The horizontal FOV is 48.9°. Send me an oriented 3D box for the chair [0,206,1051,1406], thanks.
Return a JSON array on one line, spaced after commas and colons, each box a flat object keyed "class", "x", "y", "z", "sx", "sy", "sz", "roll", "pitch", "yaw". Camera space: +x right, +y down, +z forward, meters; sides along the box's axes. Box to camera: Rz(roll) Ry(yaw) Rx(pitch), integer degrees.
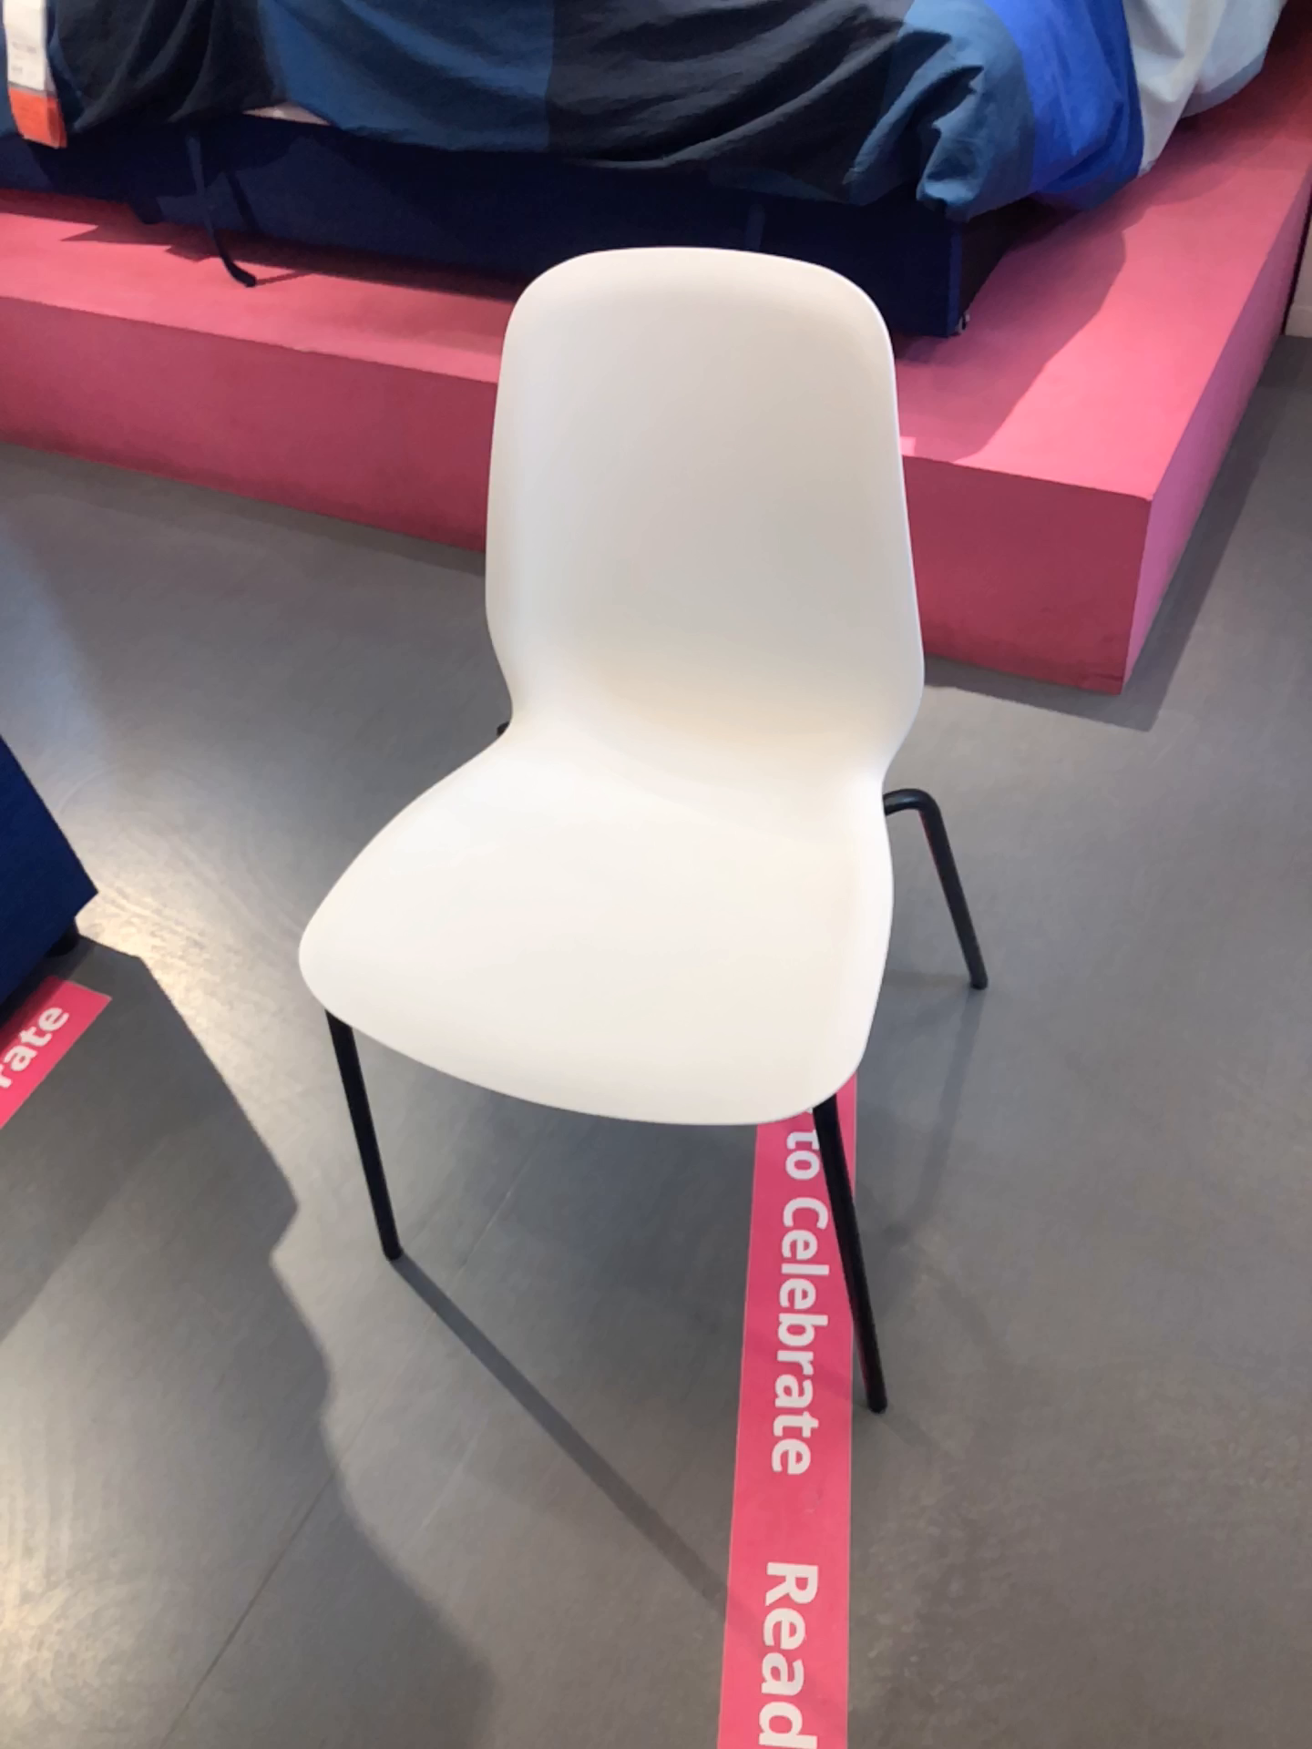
[{"class": "chair", "x": -0.021, "y": -0.032, "z": 1.151, "sx": 0.511, "sy": 0.755, "sz": 0.492, "roll": 11, "pitch": 52, "yaw": 18}]
